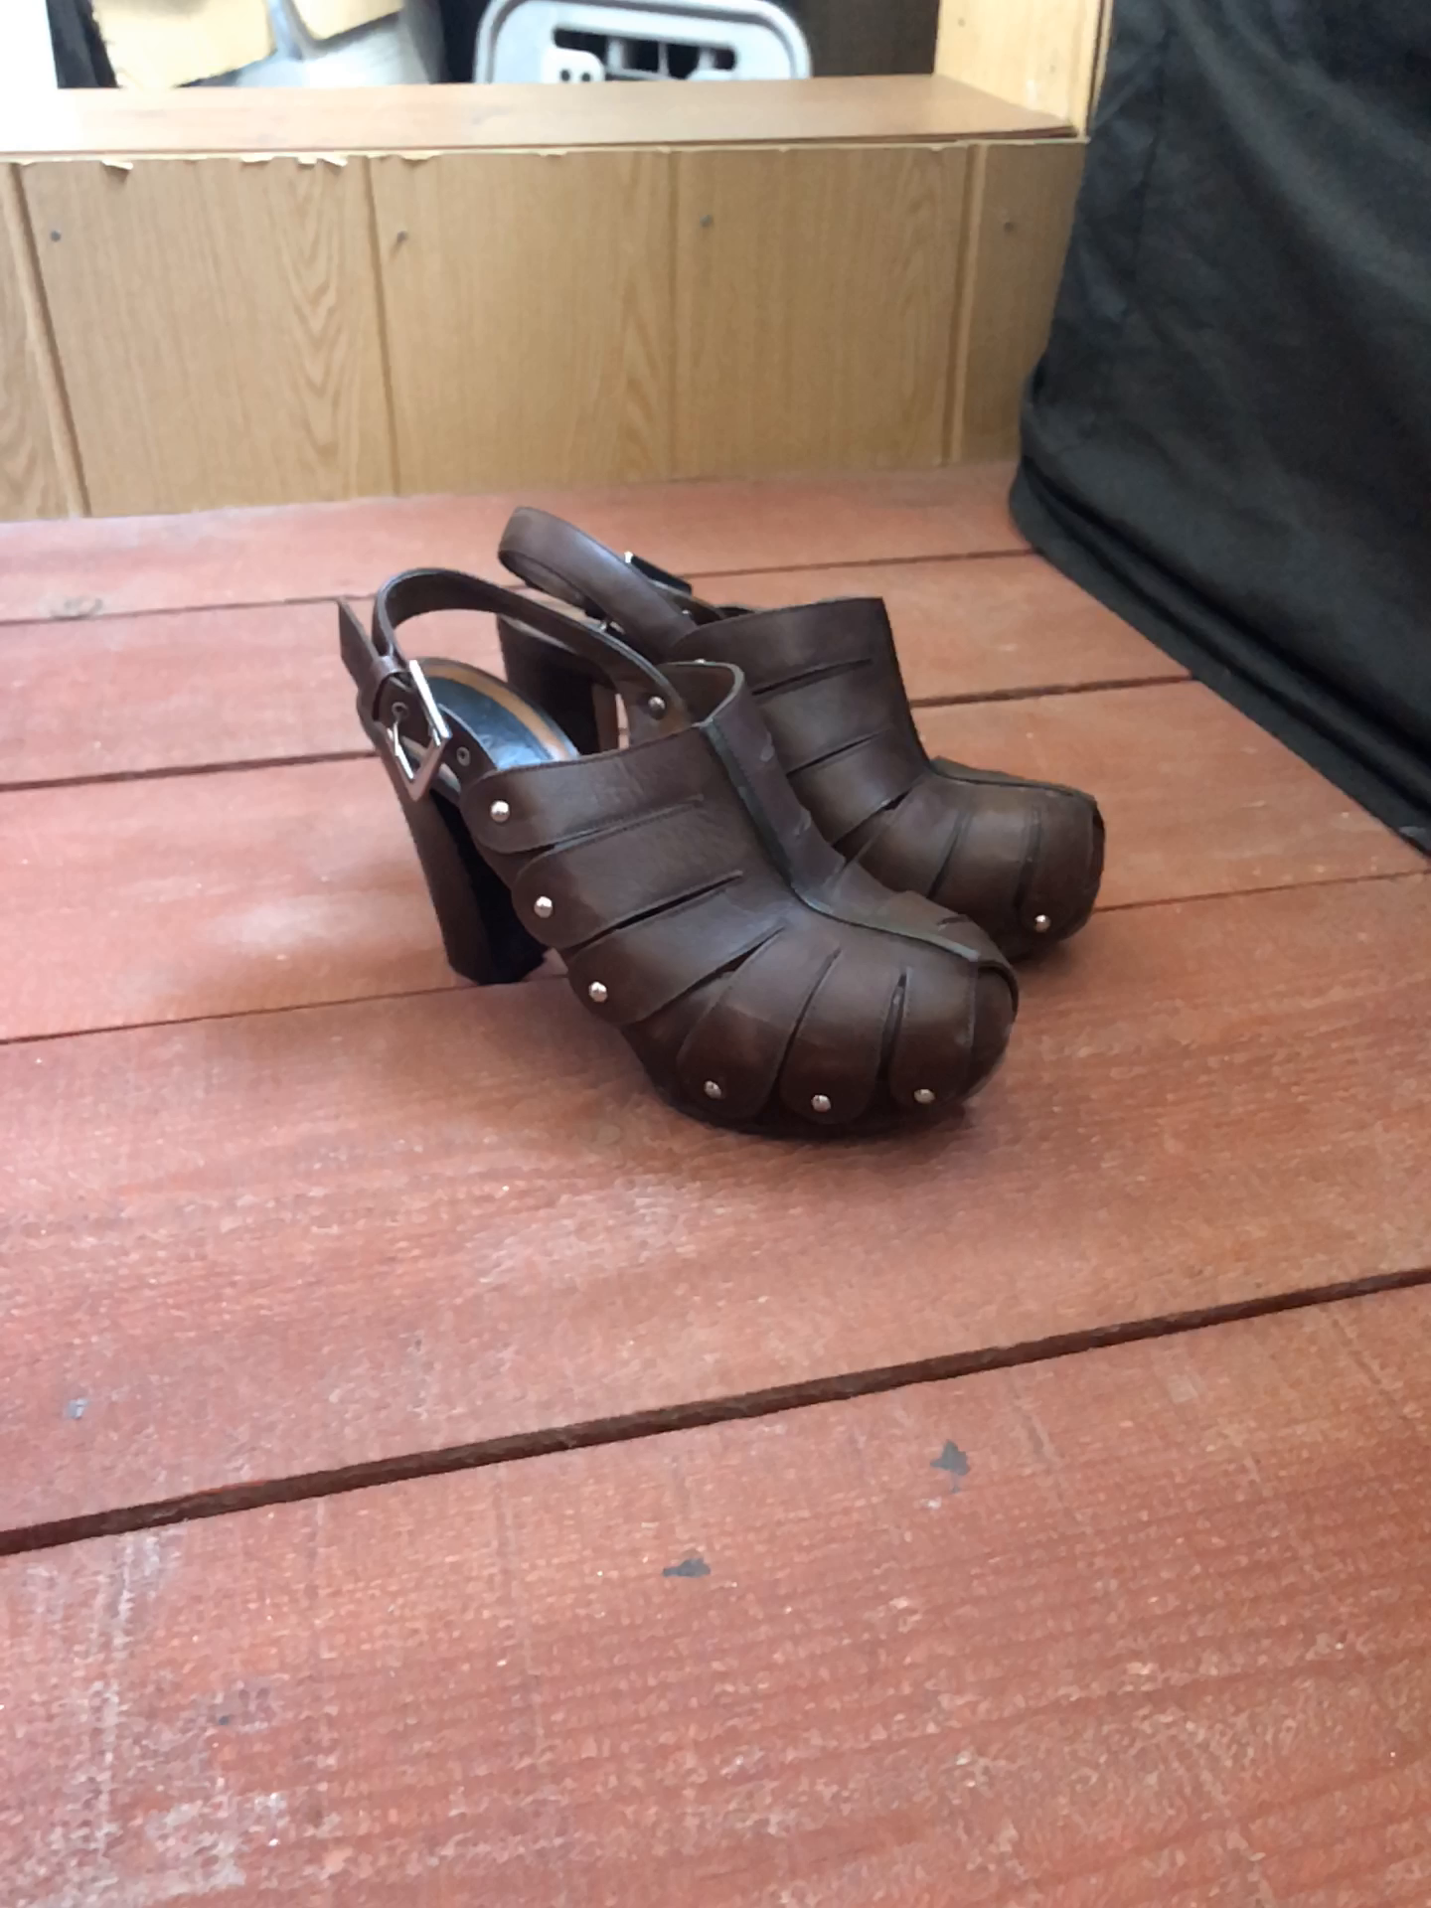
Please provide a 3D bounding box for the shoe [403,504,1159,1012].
[{"bbox_3d":[0.019,-0.067,0.499,0.210,0.110,0.080,11,20,10],"label":"shoe"}]

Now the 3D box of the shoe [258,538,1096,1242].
[{"bbox_3d":[-0.016,-0.028,0.445,0.210,0.120,0.080,20,37,28],"label":"shoe"}]
